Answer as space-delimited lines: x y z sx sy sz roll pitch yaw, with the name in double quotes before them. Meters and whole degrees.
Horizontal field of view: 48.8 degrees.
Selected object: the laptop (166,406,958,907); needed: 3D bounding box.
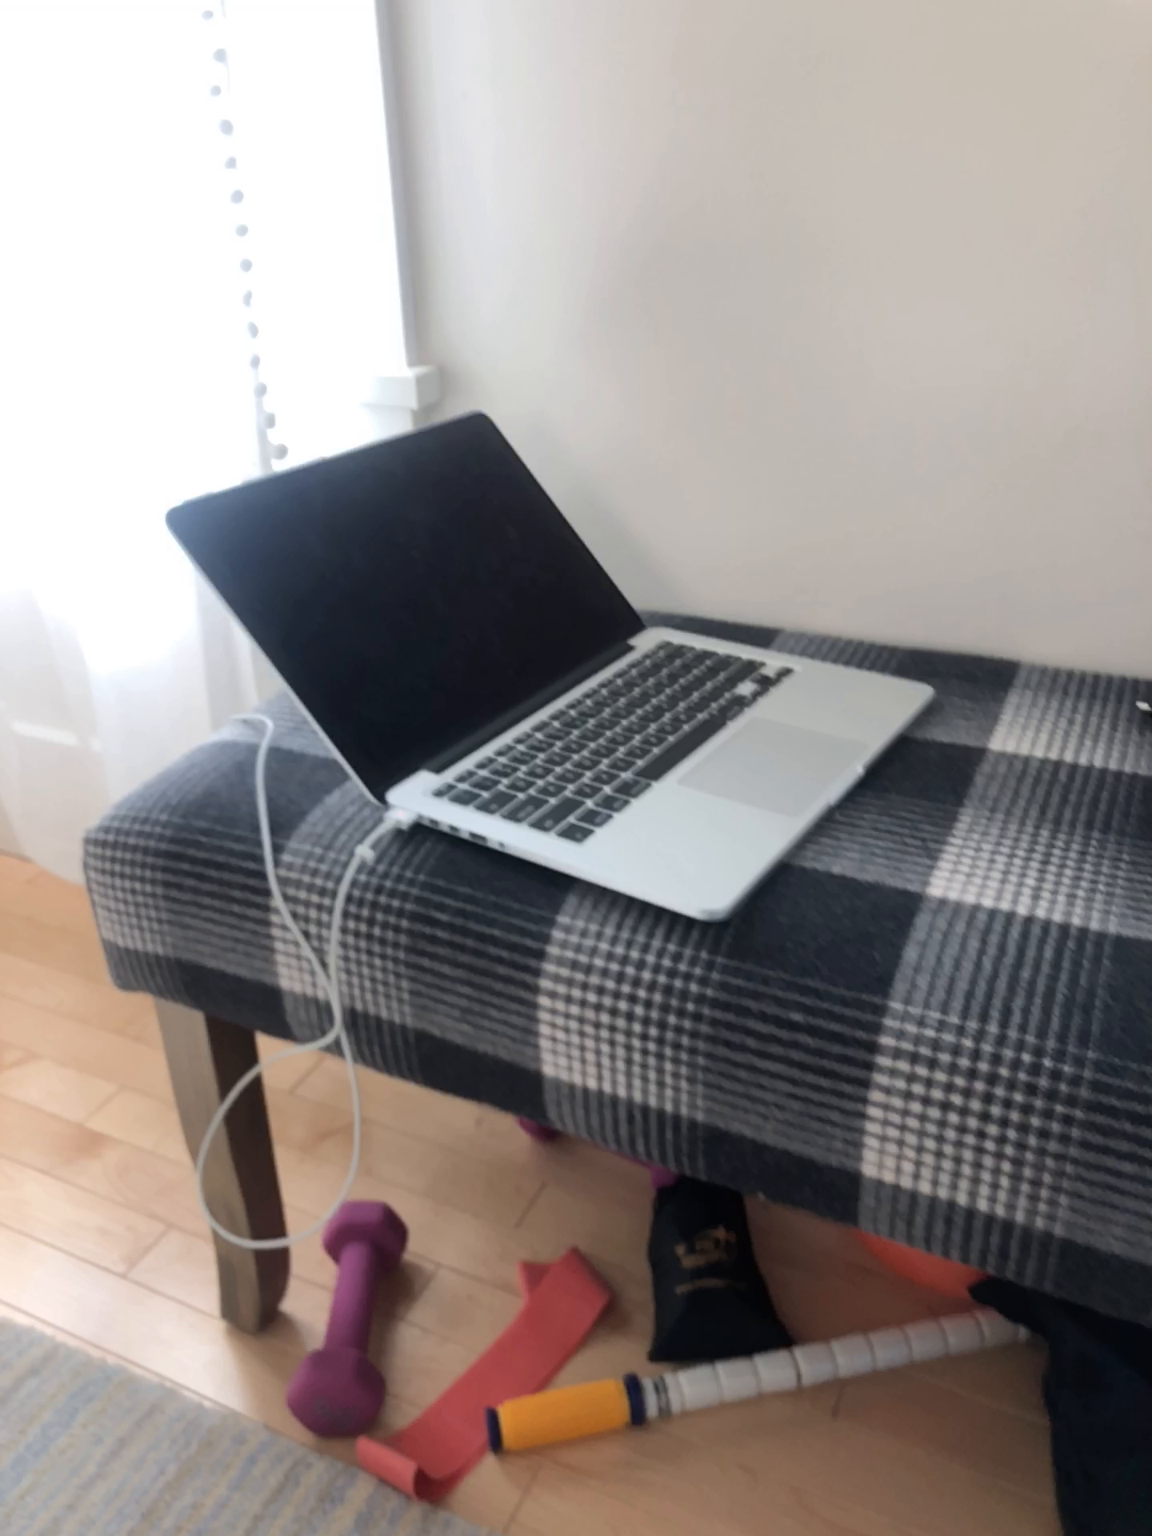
"laptop" 0.000 -0.103 0.787 0.366 0.142 0.307 16 32 30
